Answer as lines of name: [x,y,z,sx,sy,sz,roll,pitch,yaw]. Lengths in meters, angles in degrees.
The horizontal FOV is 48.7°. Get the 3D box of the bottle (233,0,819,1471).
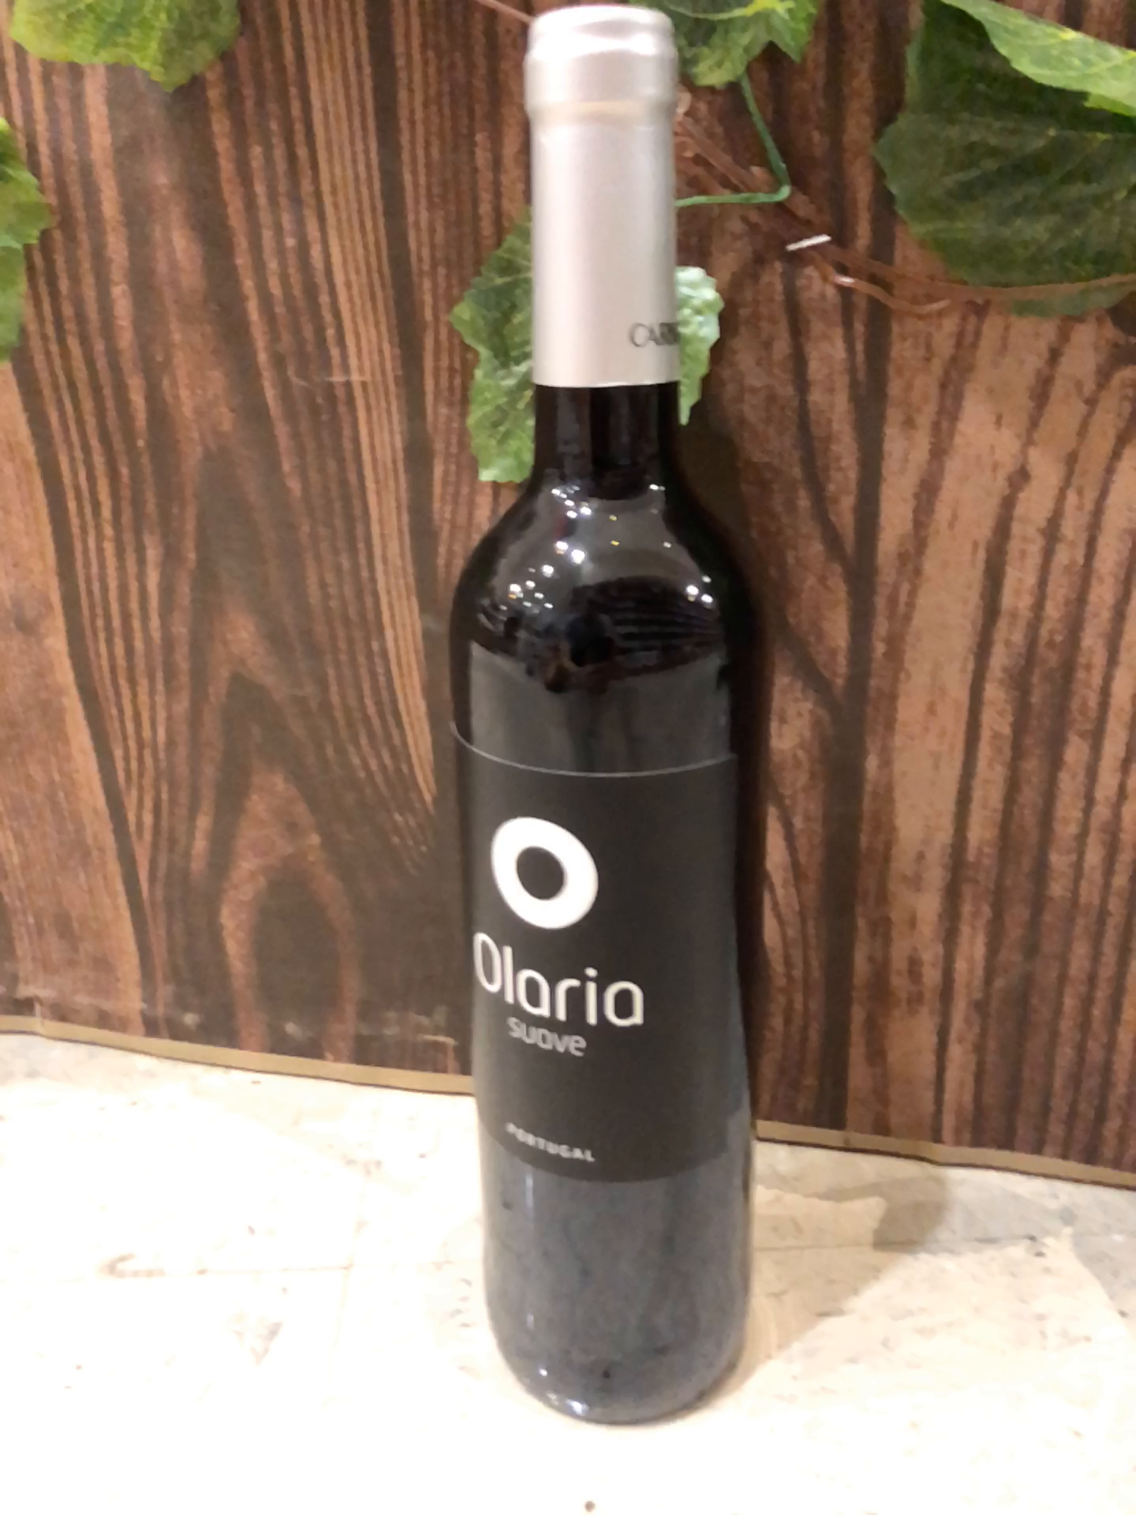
bottle: [0.002,0.004,0.282,0.080,0.298,0.081,-2,21,1]
